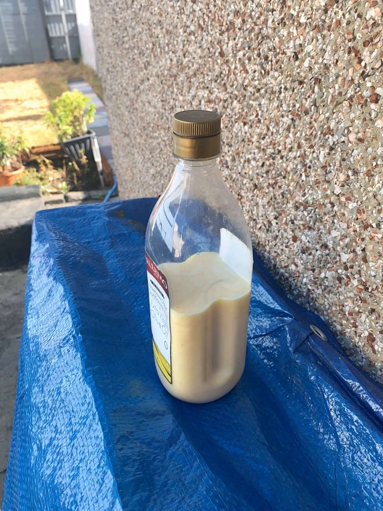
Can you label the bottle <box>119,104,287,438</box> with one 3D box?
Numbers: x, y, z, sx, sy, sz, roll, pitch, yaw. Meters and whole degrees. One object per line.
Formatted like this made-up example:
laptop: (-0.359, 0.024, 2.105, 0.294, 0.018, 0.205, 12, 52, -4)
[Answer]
bottle: (0.008, 0.019, 0.307, 0.080, 0.238, 0.081, -2, 30, 1)
